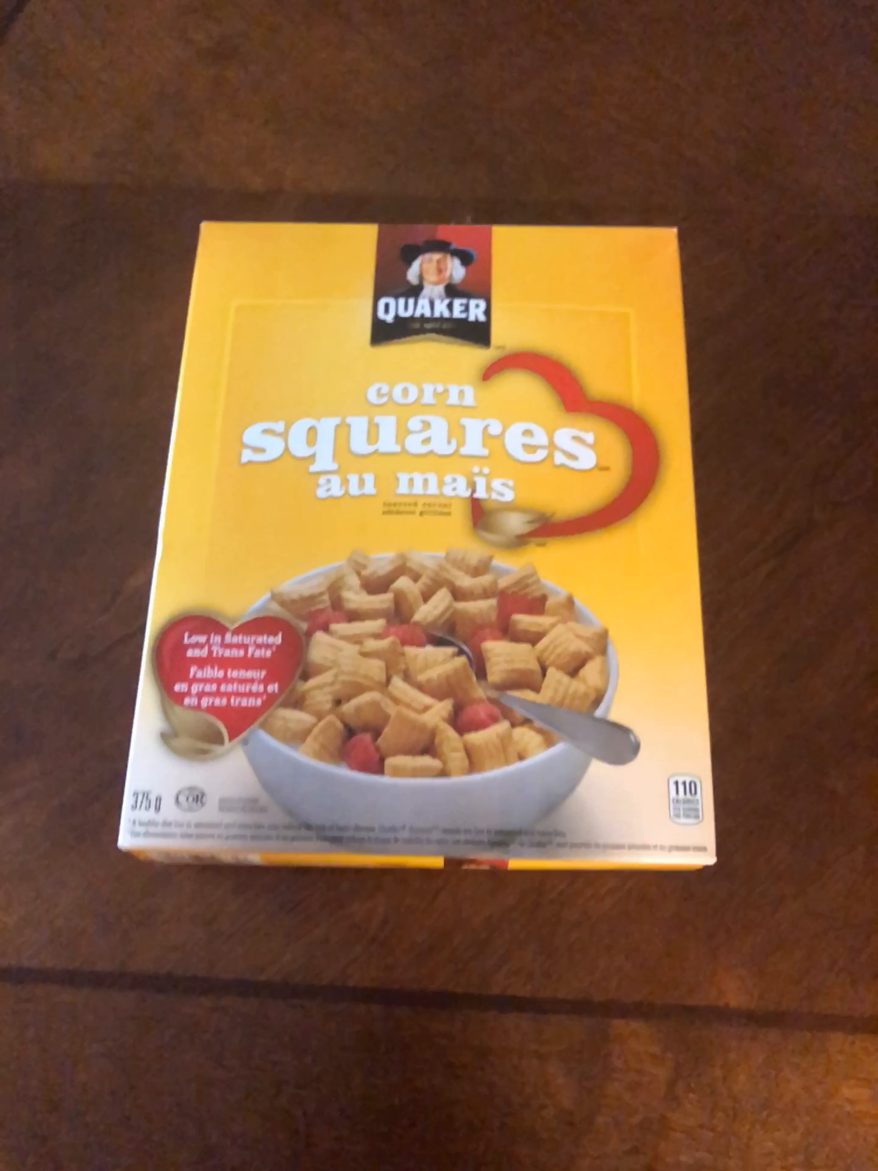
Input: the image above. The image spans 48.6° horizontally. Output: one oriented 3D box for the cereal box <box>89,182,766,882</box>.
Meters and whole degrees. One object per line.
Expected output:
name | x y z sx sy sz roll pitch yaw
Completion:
cereal box | -0.001 -0.028 0.384 0.220 0.050 0.271 2 71 -1
